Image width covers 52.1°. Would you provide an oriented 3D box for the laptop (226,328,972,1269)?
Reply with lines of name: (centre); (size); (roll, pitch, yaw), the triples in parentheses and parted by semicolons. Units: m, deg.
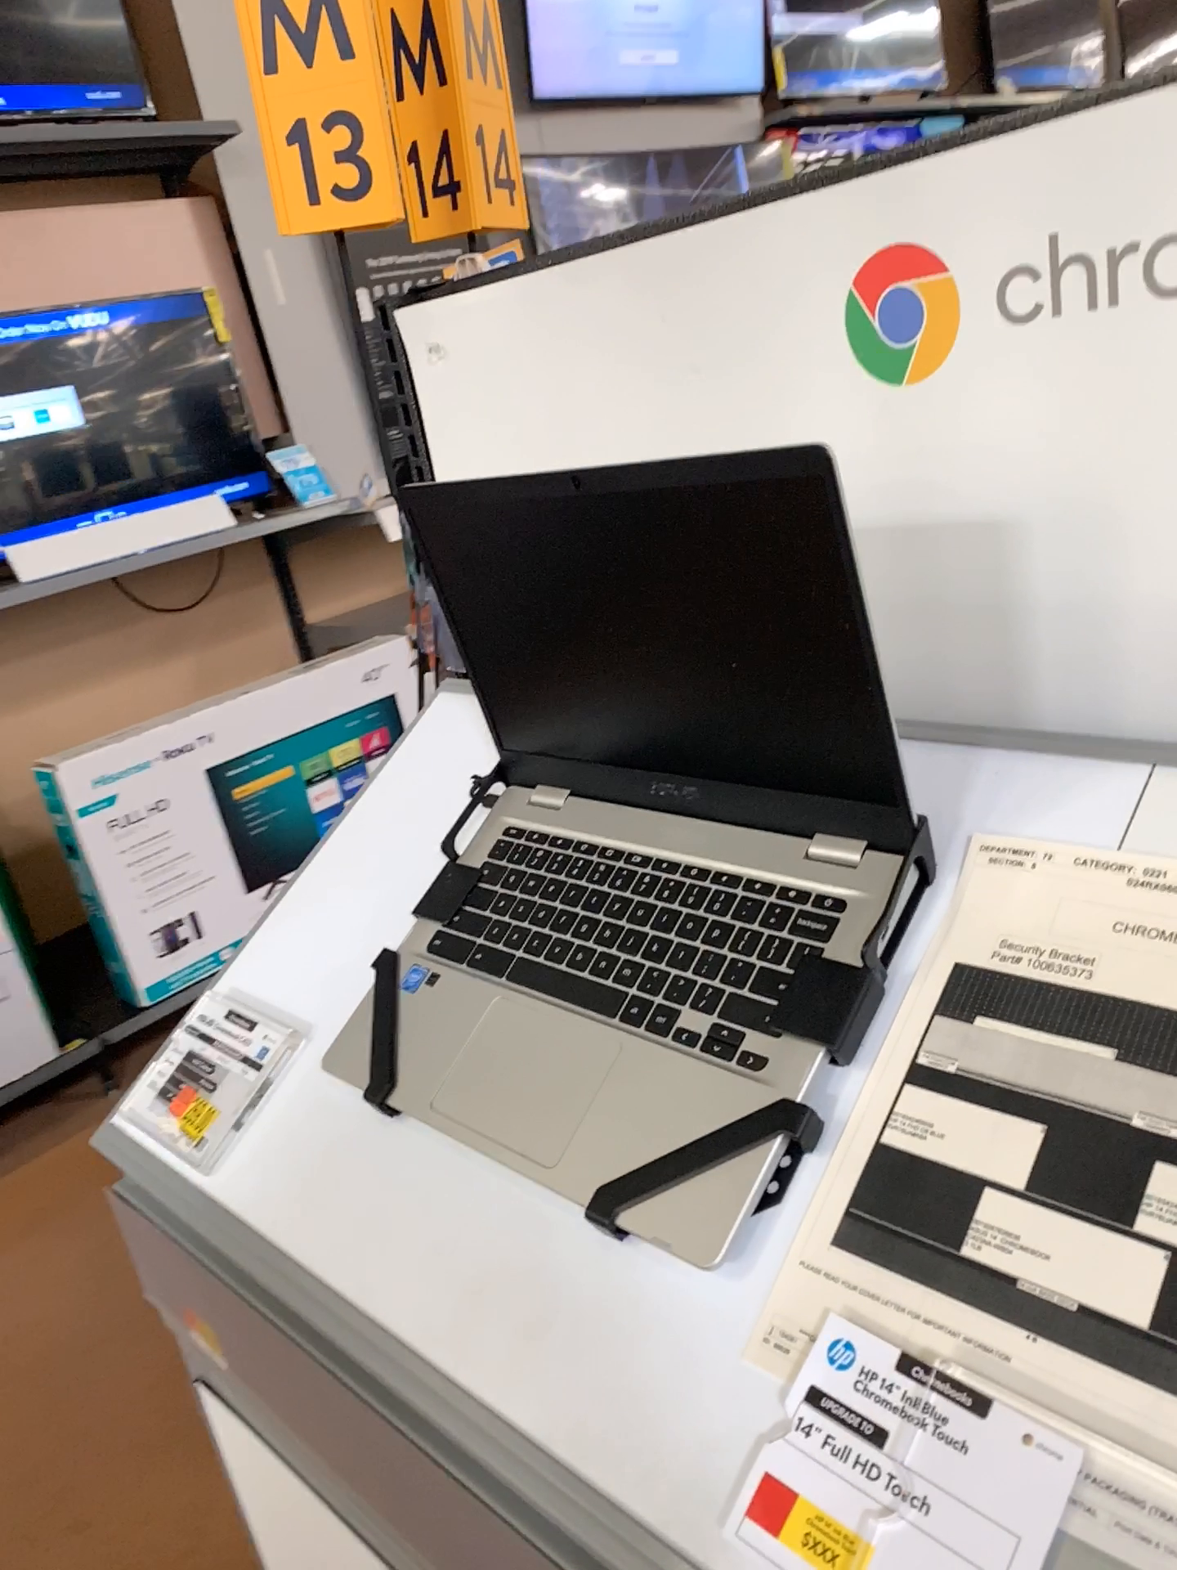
laptop: (0.000, -0.022, 0.653); (0.309, 0.196, 0.293); (9, 48, 45)
